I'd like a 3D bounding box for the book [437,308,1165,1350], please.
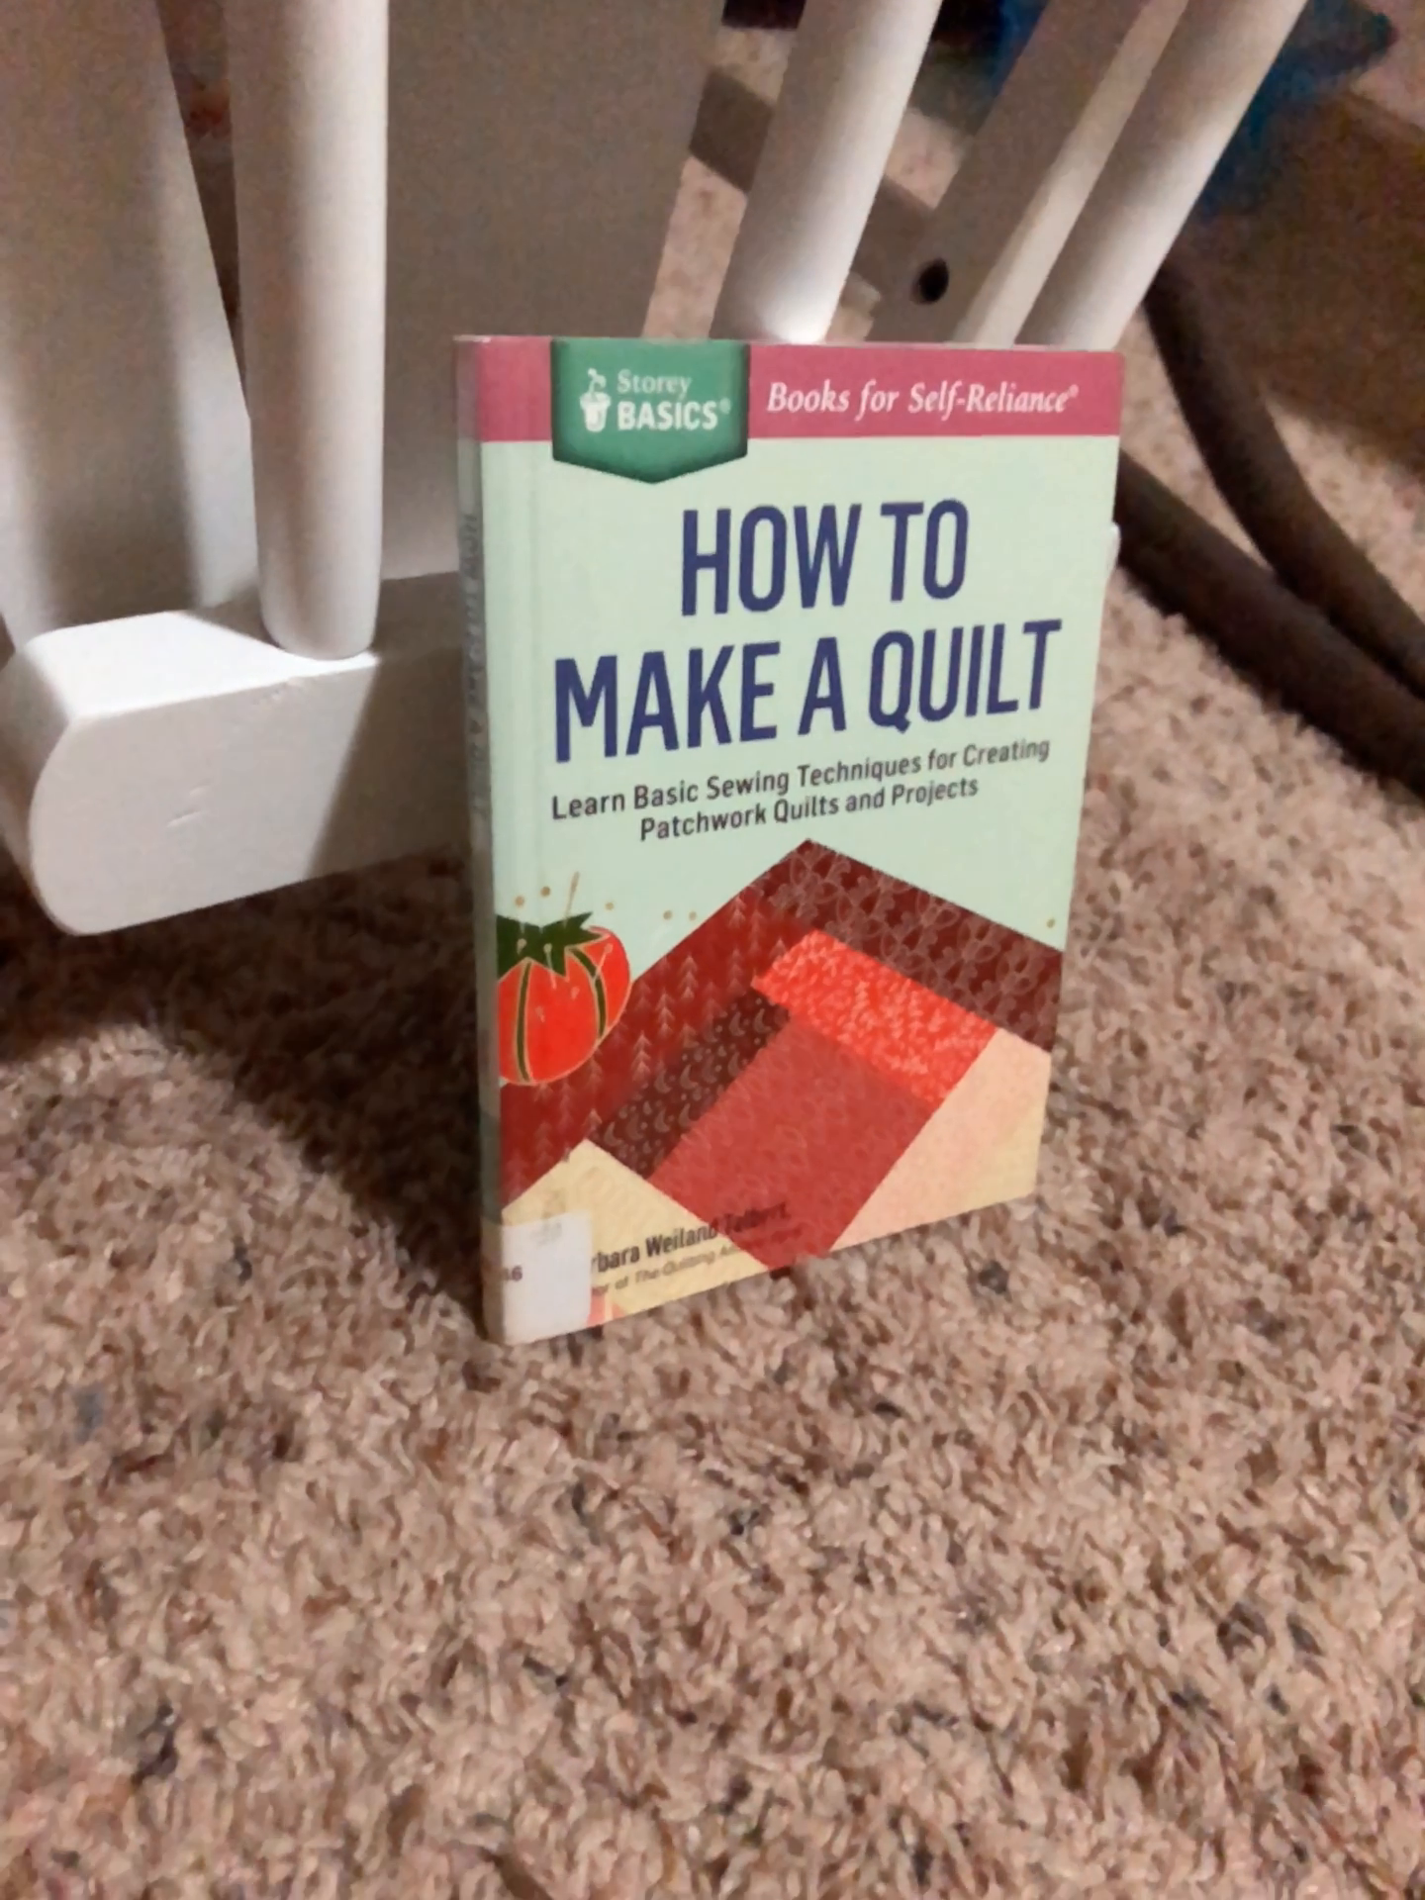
[{"bbox_3d":[0.018,-0.023,0.288,0.130,0.168,0.020,-10,23,-30],"label":"book"}]
